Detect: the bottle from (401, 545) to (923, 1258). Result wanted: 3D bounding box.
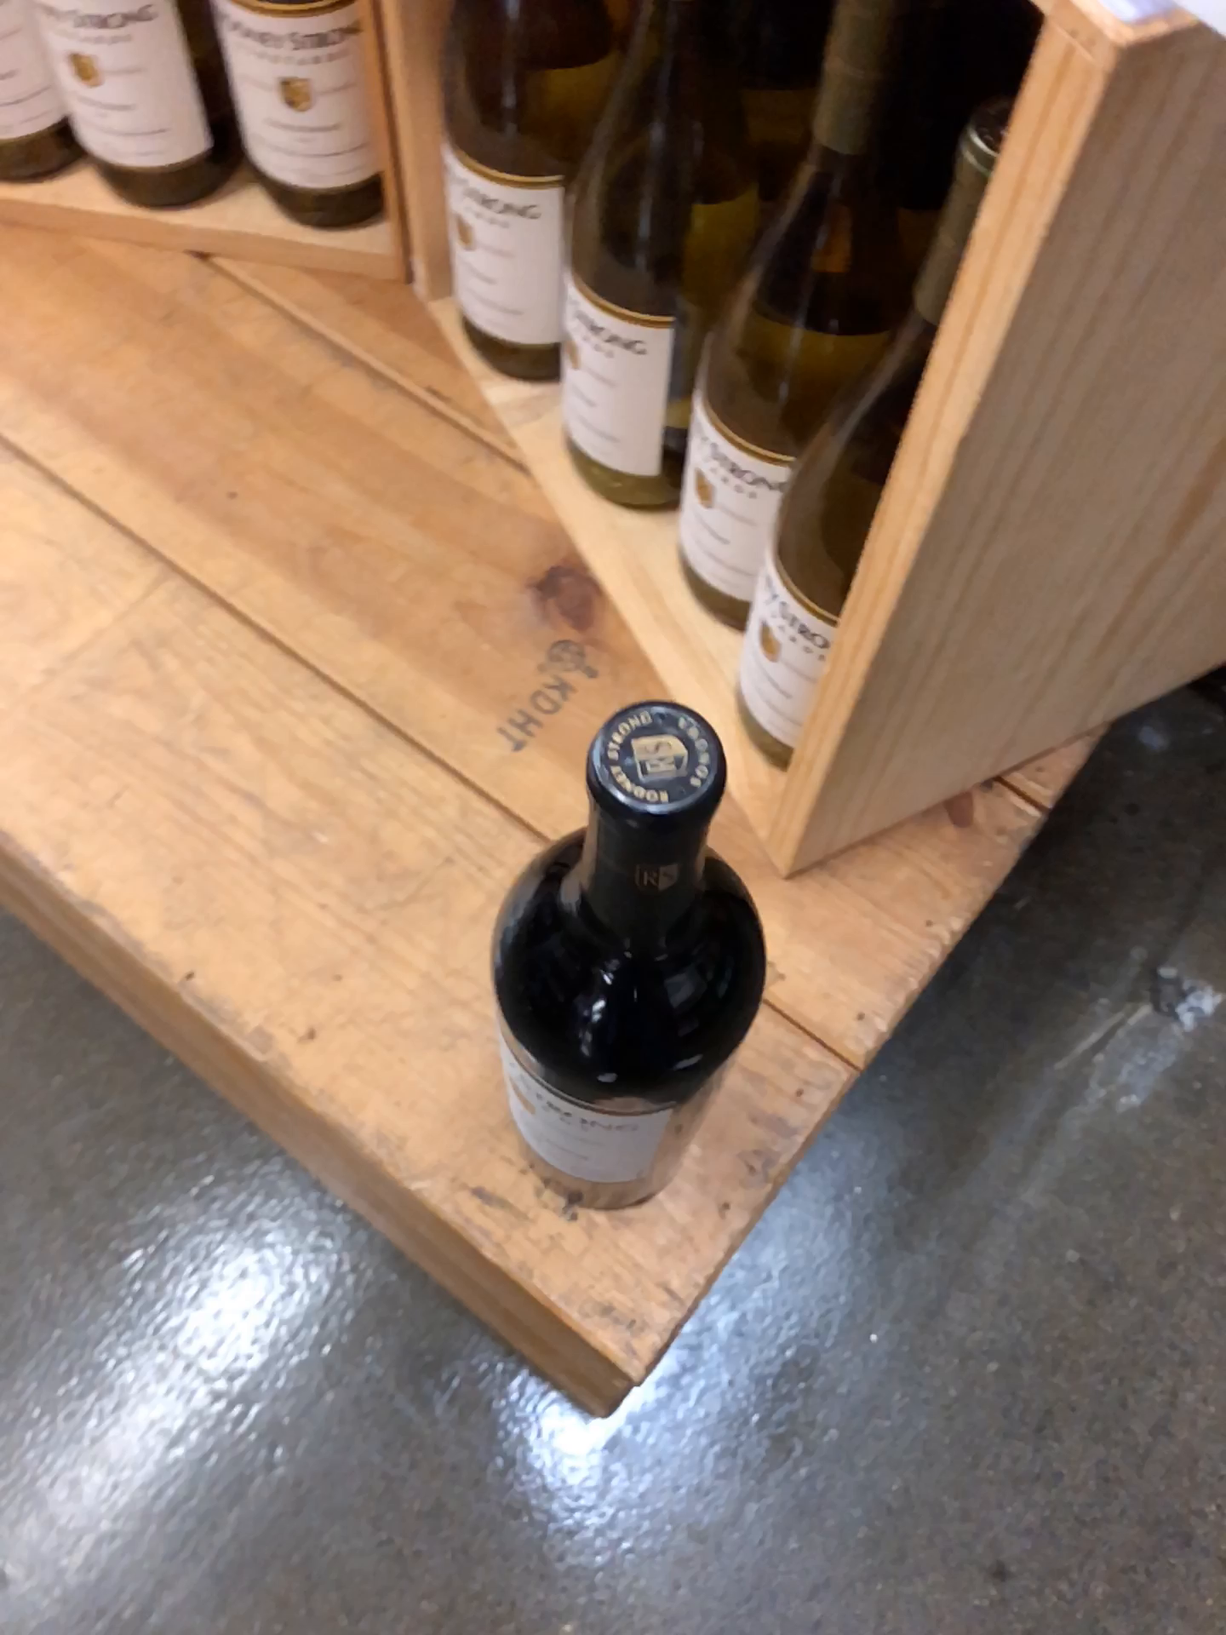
[{"bbox_3d":[0.002,0.056,0.402,0.070,0.310,0.080,-26,69,-14],"label":"bottle"}]
